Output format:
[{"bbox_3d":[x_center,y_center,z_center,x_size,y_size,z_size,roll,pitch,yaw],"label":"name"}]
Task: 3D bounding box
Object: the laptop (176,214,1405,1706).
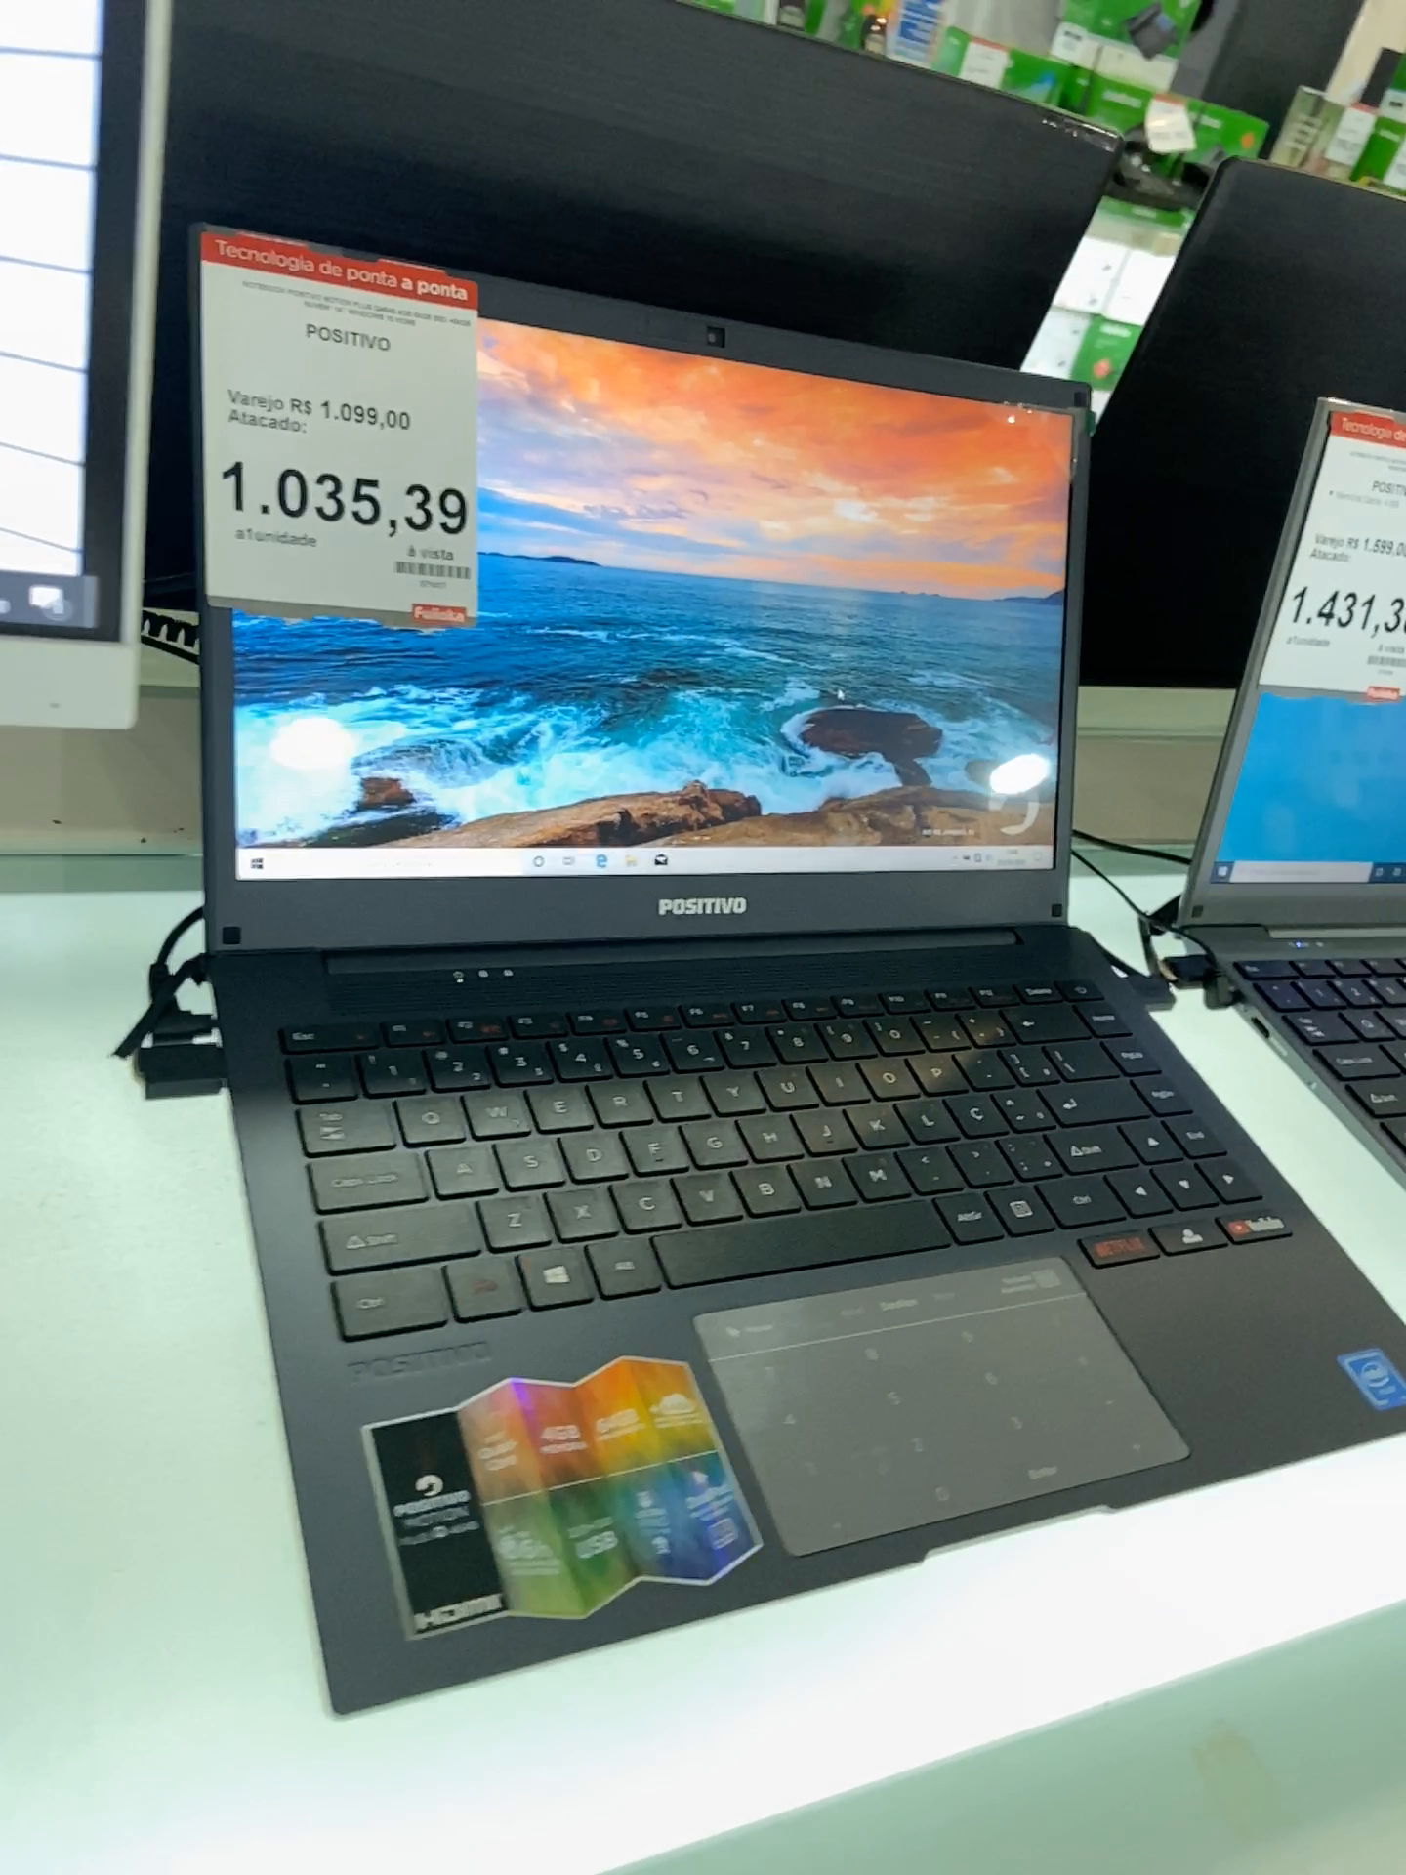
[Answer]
[{"bbox_3d":[0.040,-0.036,0.431,0.335,0.174,0.355,-2,41,-26],"label":"laptop"}]
